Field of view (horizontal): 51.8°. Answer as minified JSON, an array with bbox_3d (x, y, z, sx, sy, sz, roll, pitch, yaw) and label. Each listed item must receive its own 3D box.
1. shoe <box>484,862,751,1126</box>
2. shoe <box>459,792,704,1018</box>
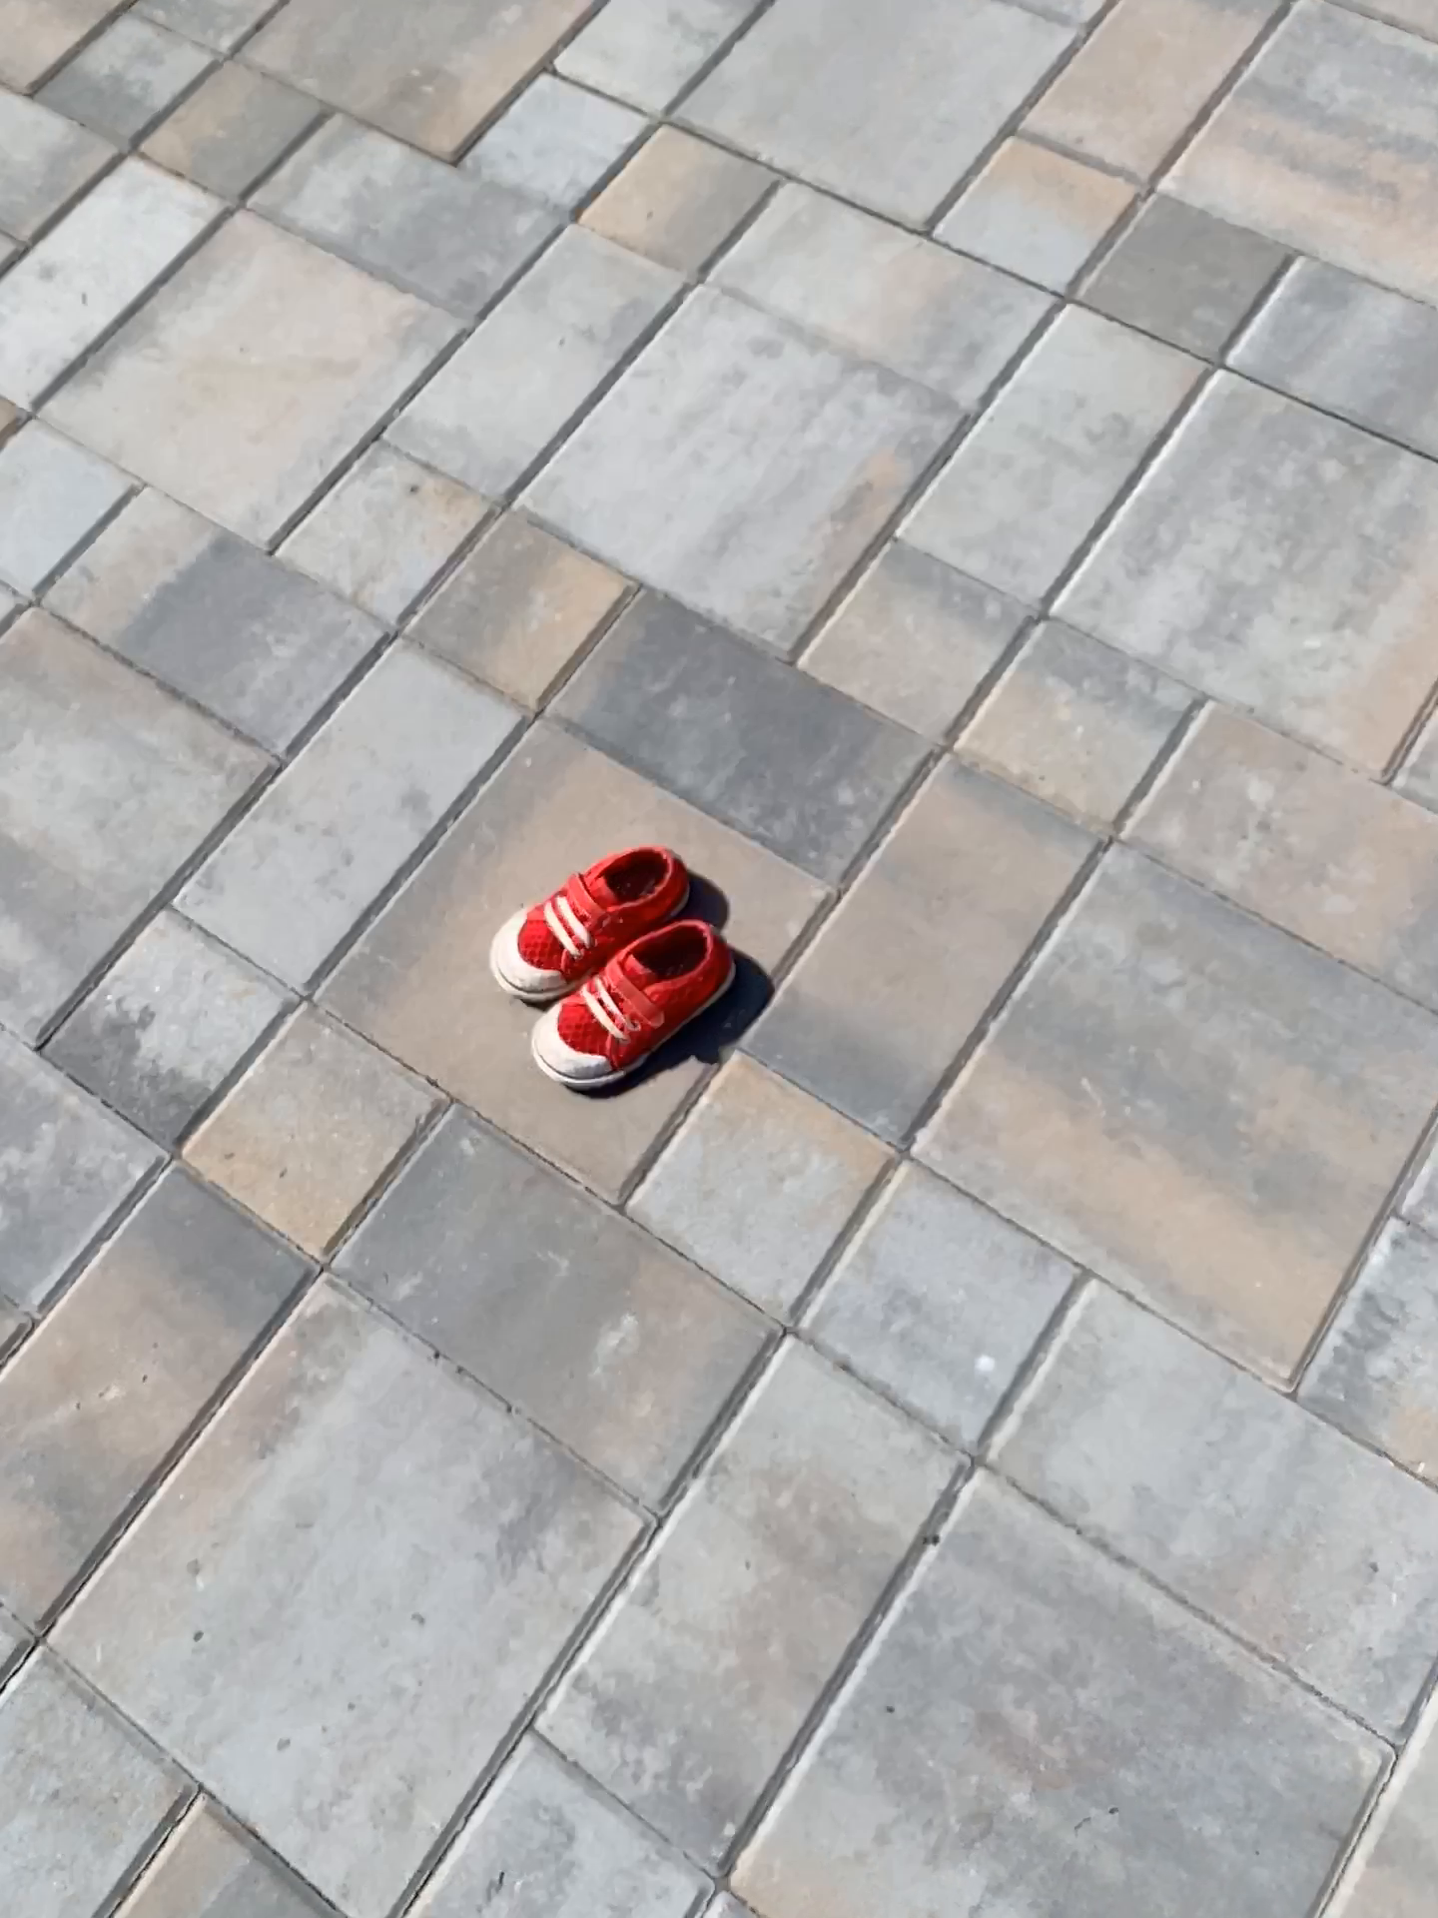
[{"bbox_3d":[-0.073,0.028,1.122,0.170,0.100,0.090,-36,70,-10],"label":"shoe"},{"bbox_3d":[-0.102,-0.040,1.137,0.160,0.100,0.070,-30,69,-8],"label":"shoe"}]
